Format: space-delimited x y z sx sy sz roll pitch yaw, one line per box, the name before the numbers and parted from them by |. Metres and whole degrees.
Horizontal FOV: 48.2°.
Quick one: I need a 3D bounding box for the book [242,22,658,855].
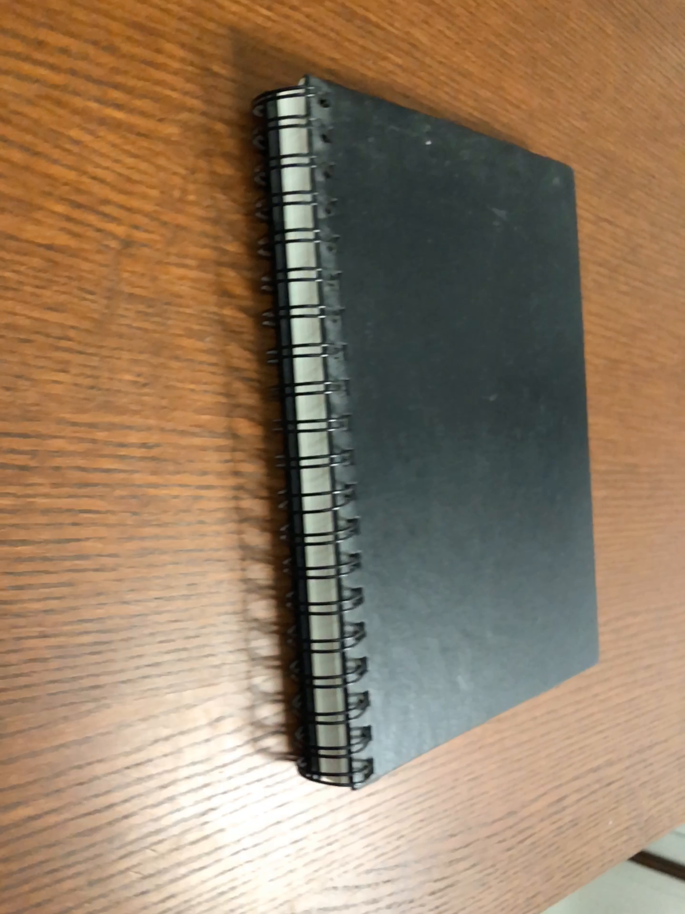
book | 0.061 -0.011 0.317 0.201 0.030 0.260 -7 94 -42
